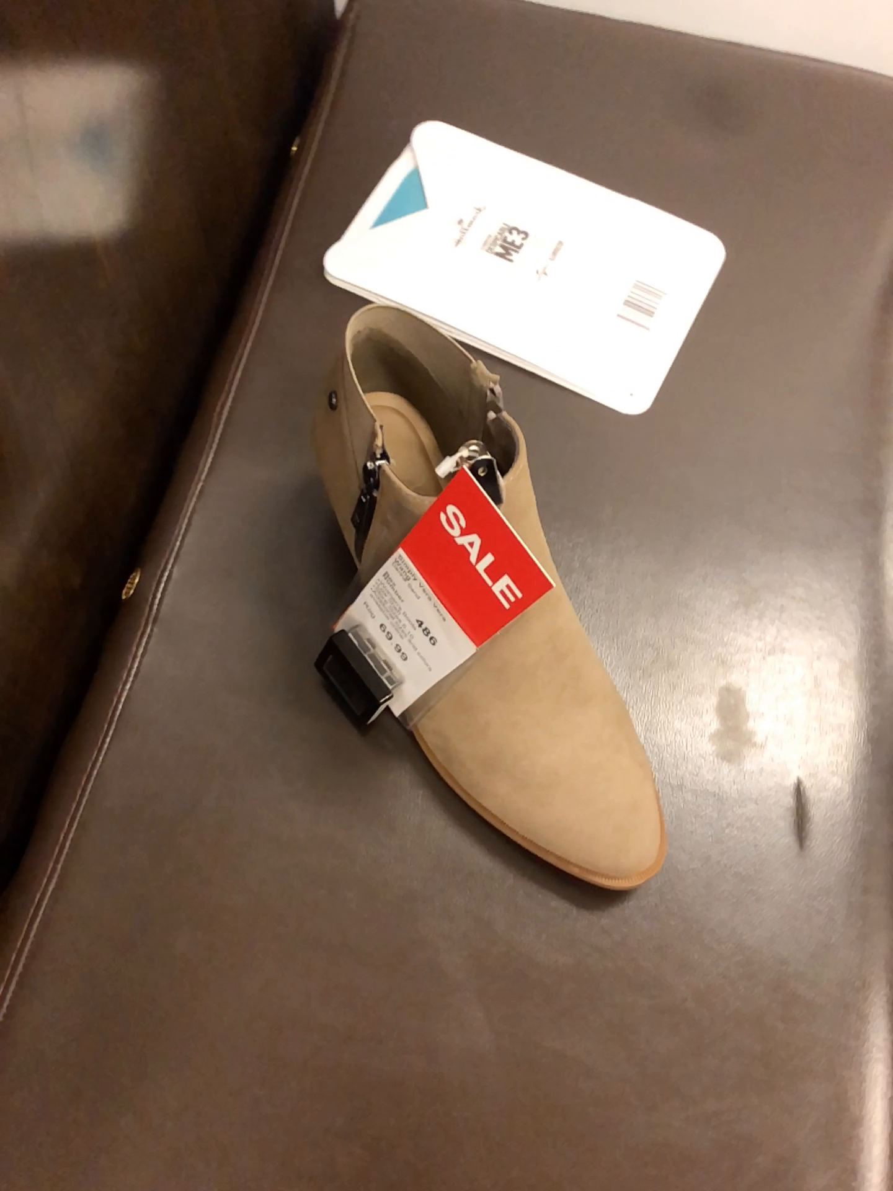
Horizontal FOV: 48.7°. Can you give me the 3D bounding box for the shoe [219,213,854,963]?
[{"bbox_3d":[0.018,-0.002,0.402,0.097,0.133,0.260,-27,68,-14],"label":"shoe"}]
